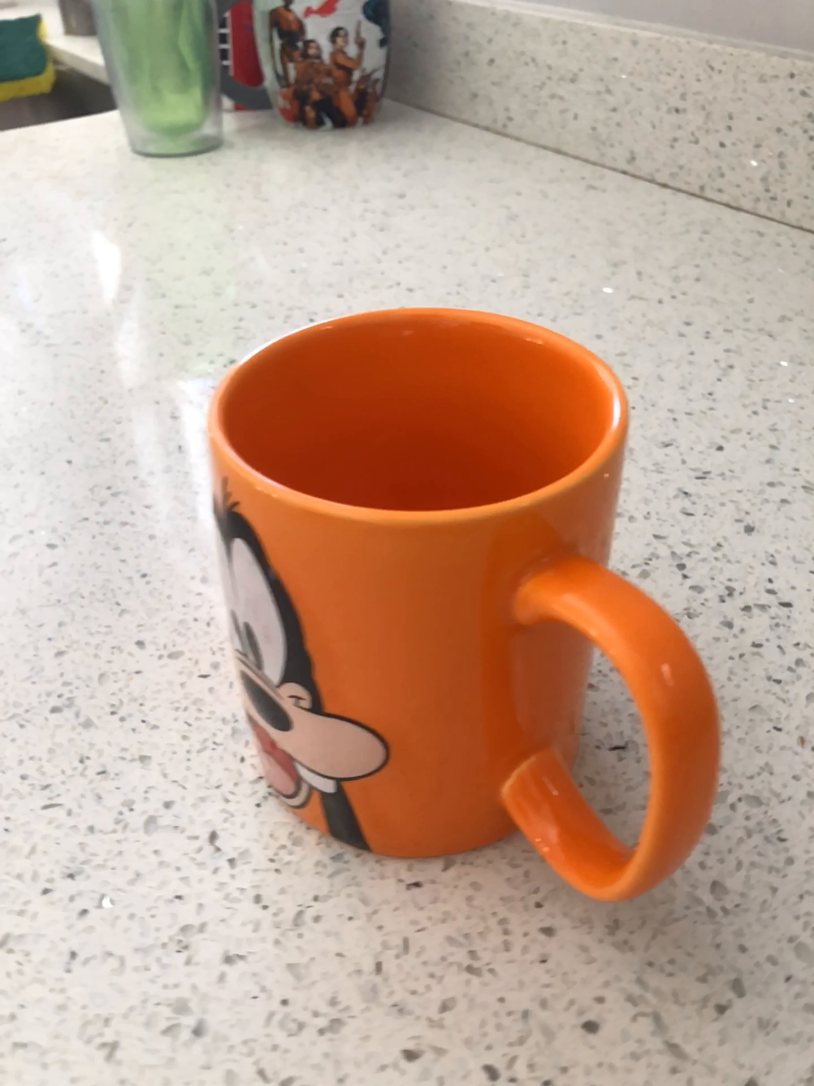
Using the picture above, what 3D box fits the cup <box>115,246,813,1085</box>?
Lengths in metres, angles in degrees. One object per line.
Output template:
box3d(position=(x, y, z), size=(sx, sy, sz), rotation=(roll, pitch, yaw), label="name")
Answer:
box3d(position=(0.013, 0.014, 0.195), size=(0.090, 0.101, 0.131), rotation=(-22, 42, -25), label="cup")
